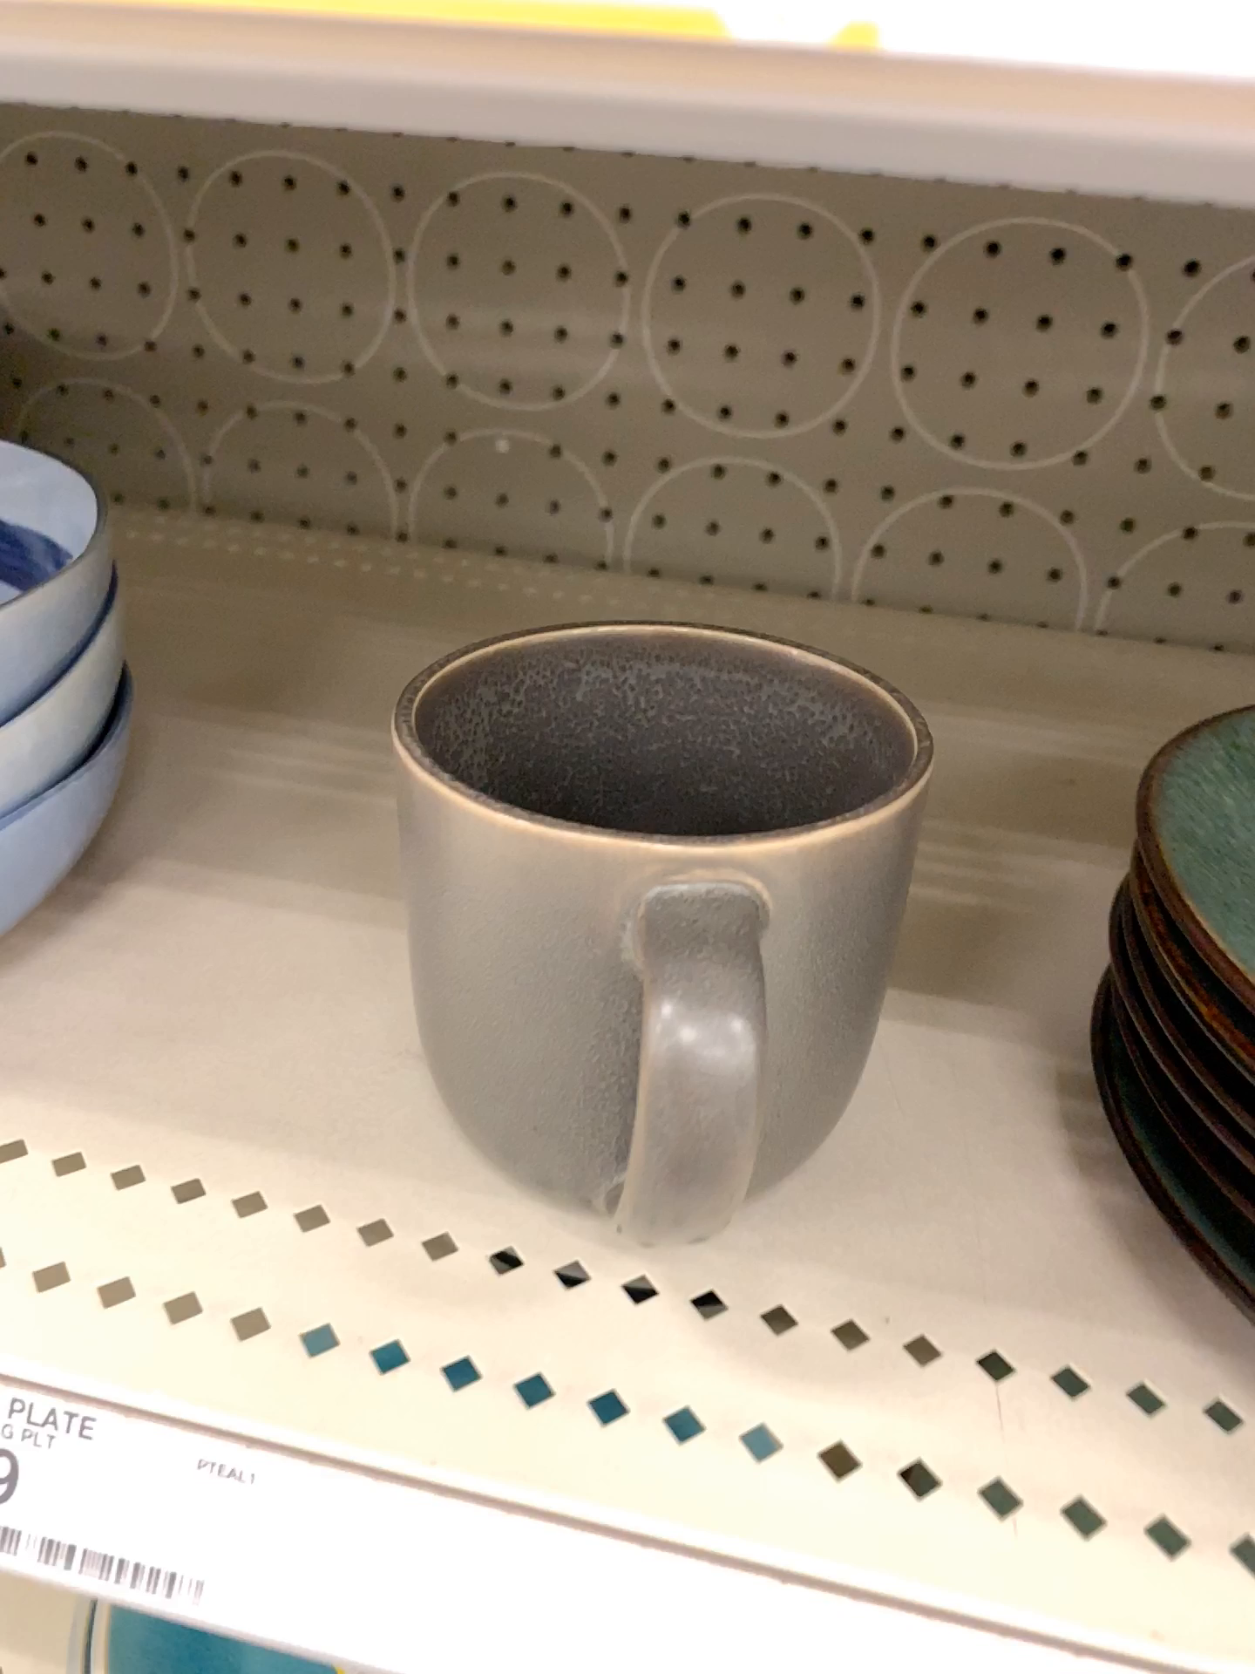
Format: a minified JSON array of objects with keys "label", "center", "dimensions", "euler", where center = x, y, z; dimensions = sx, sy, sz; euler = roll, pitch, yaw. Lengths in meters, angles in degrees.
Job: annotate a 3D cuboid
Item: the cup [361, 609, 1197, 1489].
[{"label":"cup","center":[0.008,0.022,0.226],"dimensions":[0.100,0.080,0.131],"euler":[-1,31,-9]}]
